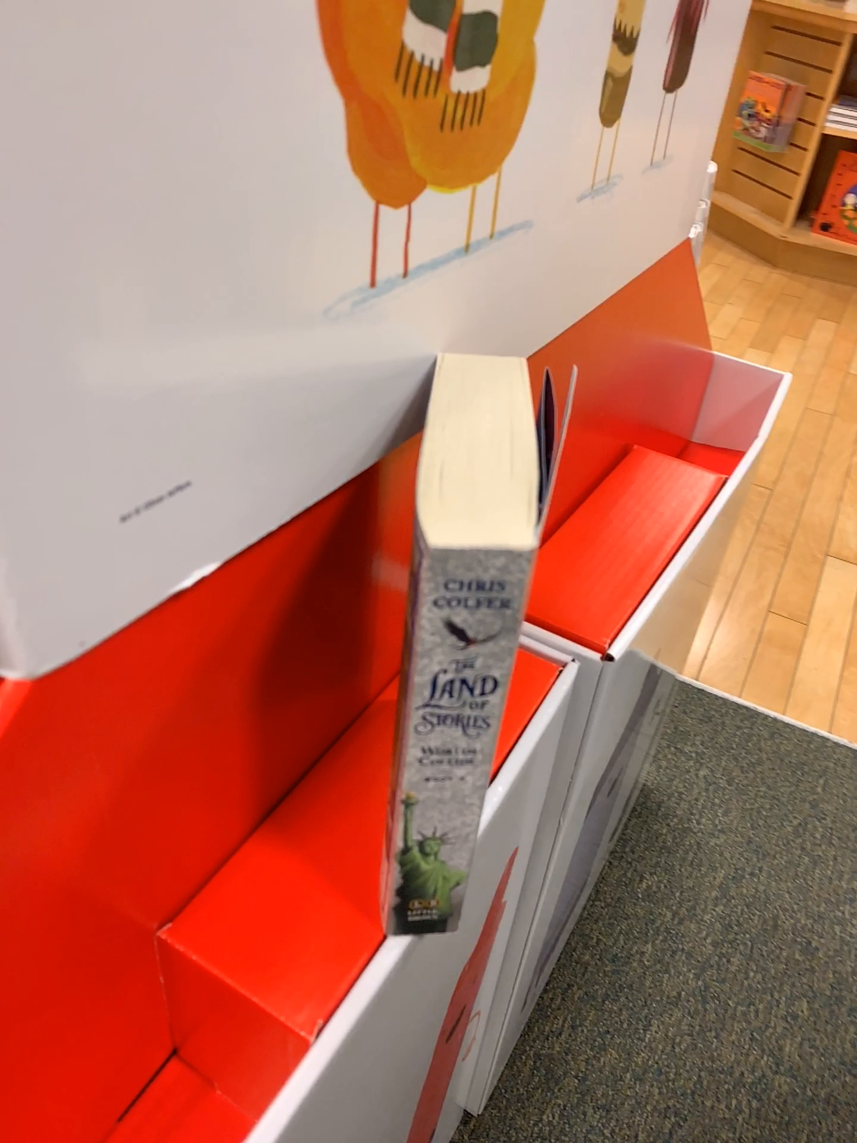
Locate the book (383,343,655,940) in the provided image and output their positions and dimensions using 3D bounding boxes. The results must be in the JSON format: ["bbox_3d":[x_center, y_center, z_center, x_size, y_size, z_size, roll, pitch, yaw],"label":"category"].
[{"bbox_3d":[0.021,0.031,0.343,0.065,0.193,0.130,3,38,-3],"label":"book"}]
